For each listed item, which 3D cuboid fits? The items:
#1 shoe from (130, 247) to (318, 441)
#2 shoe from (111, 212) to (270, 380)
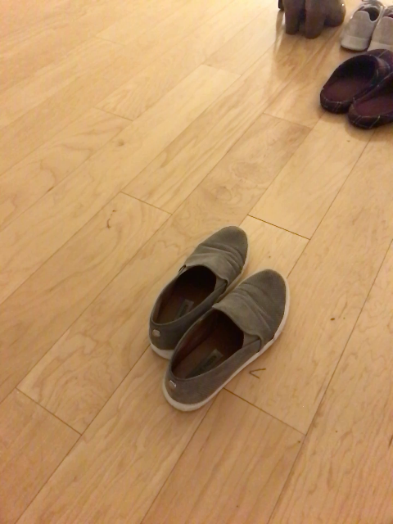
[{"bbox_3d":[0.049,0.106,0.631,0.120,0.050,0.281,34,60,25],"label":"shoe"},{"bbox_3d":[0.001,0.041,0.690,0.110,0.050,0.281,28,57,22],"label":"shoe"}]
